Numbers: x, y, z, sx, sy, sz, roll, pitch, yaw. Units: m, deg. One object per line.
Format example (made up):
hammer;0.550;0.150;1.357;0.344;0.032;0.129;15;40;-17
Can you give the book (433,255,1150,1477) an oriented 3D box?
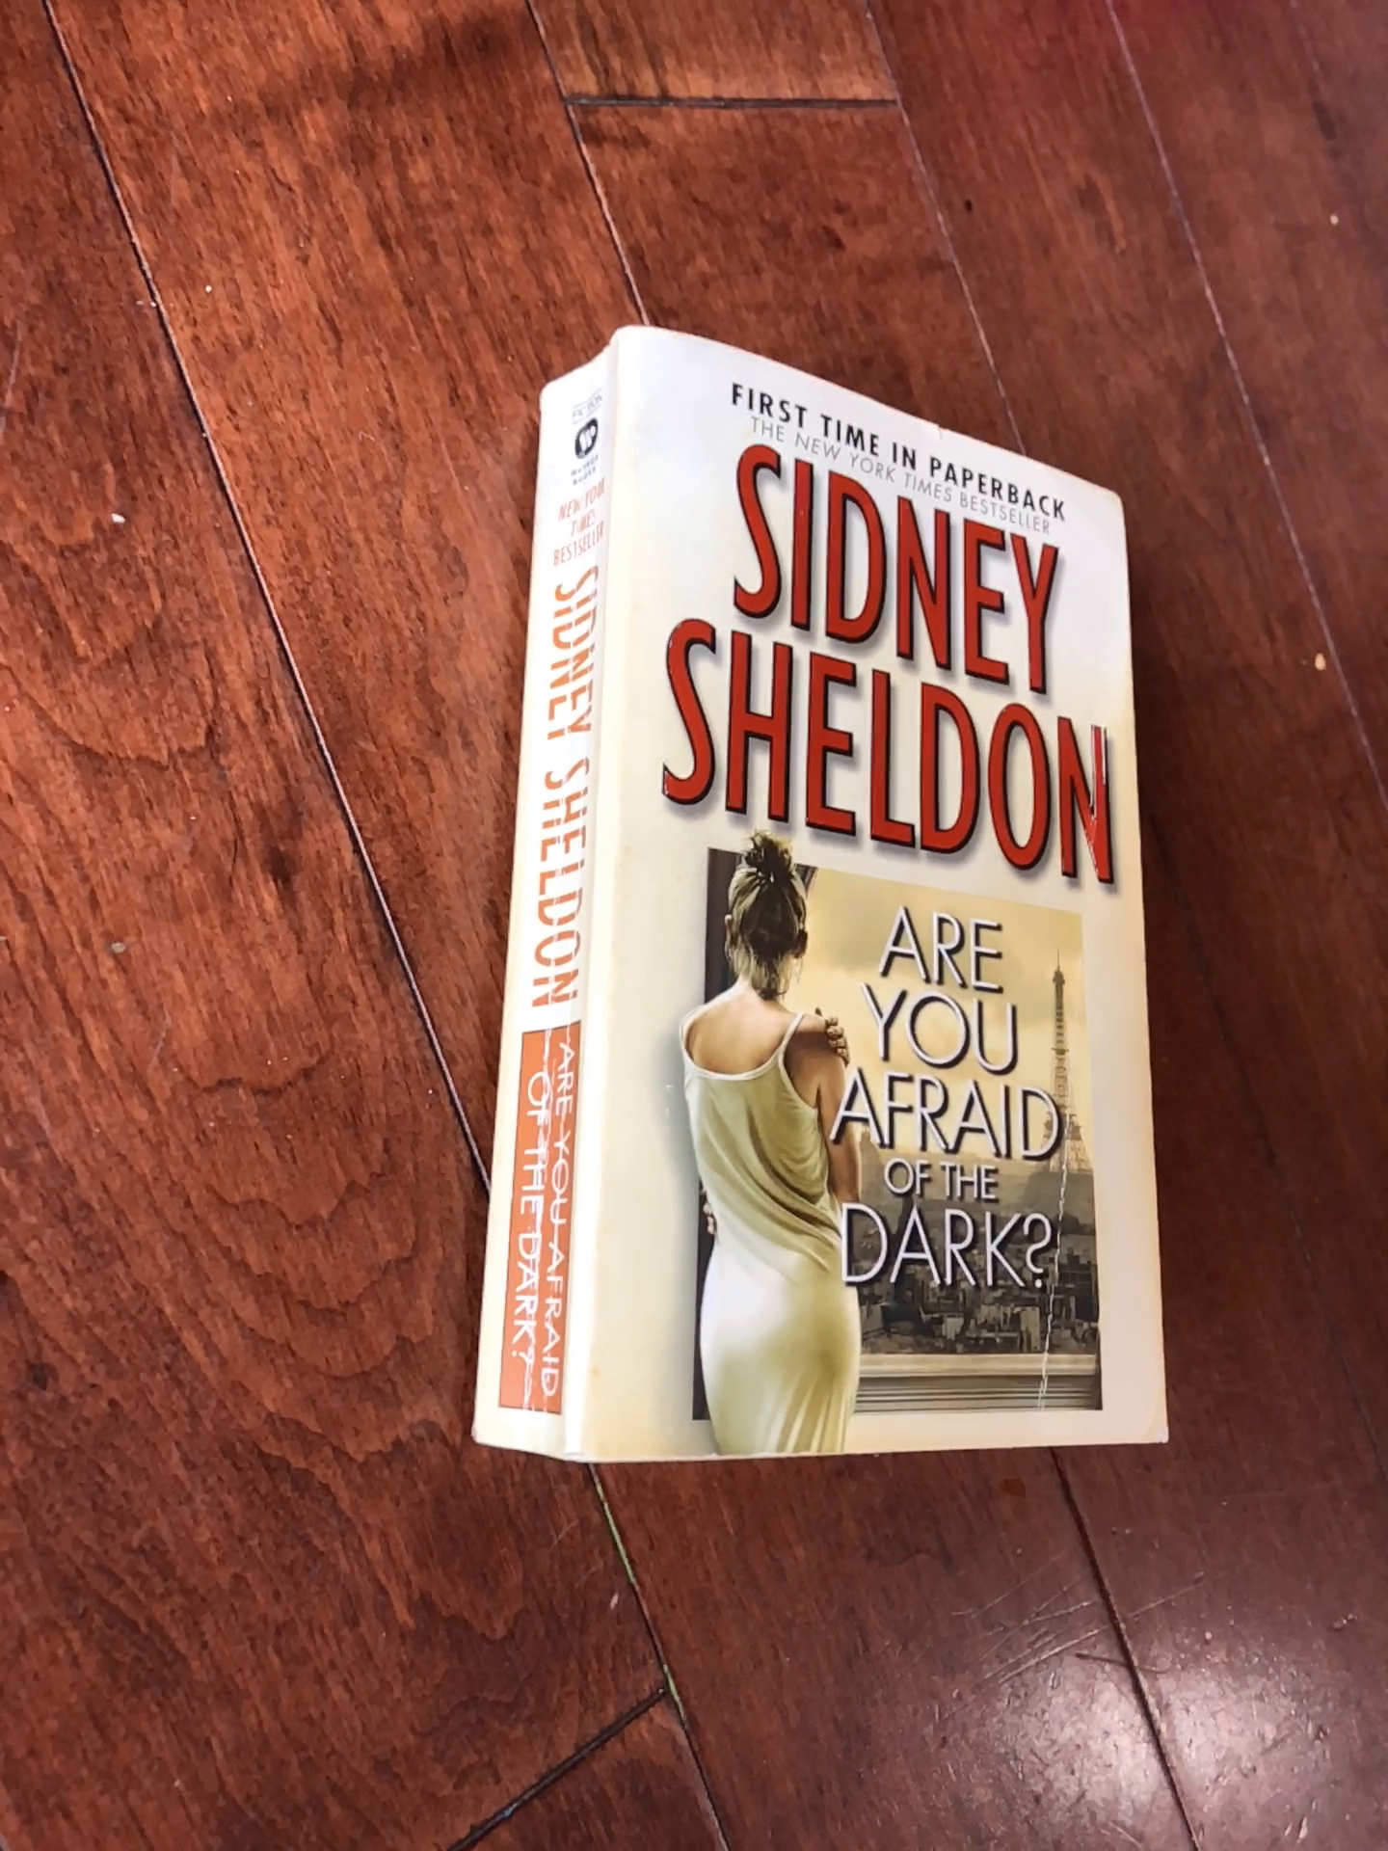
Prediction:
book;0.020;-0.005;0.263;0.108;0.040;0.180;9;75;-29
